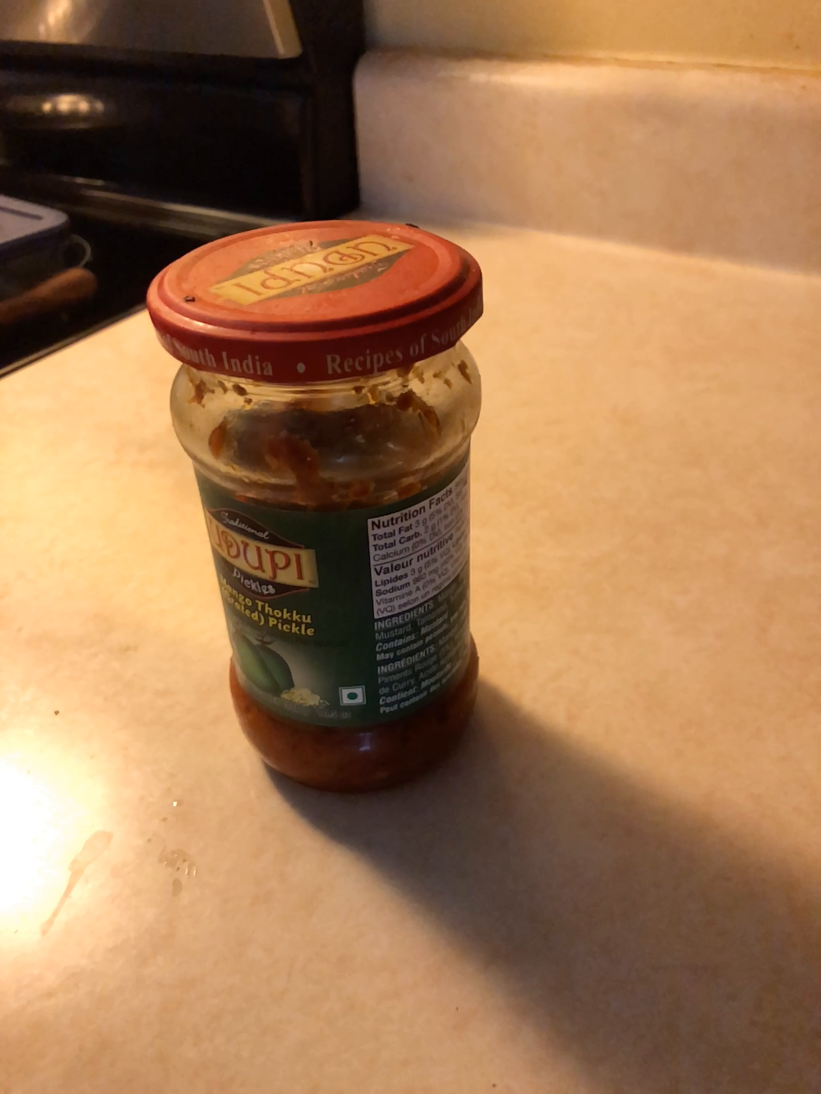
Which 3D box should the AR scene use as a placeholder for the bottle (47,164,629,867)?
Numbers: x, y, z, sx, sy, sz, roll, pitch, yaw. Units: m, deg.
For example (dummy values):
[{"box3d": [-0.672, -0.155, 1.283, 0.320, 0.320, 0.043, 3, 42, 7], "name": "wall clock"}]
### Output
[{"box3d": [-0.013, -0.012, 0.213, 0.080, 0.120, 0.080, -2, 35, 1], "name": "bottle"}]
